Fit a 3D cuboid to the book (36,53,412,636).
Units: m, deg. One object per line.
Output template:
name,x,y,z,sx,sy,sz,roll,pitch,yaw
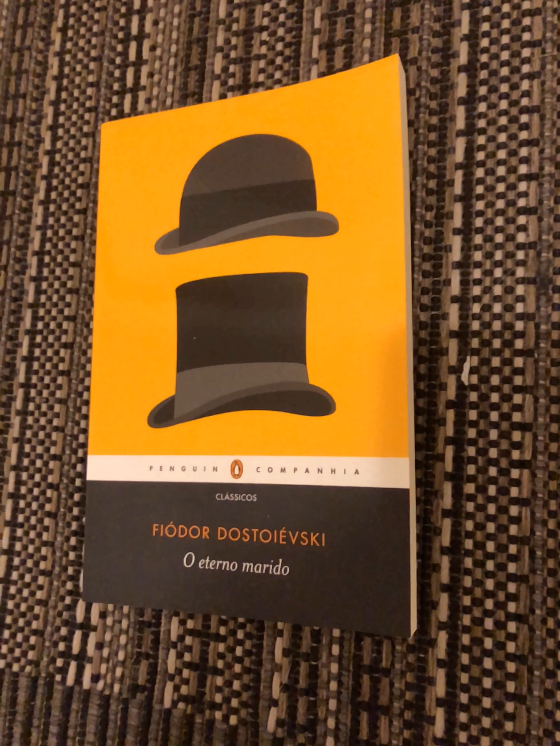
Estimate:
book,-0.022,-0.010,0.222,0.130,0.020,0.180,-3,82,21
